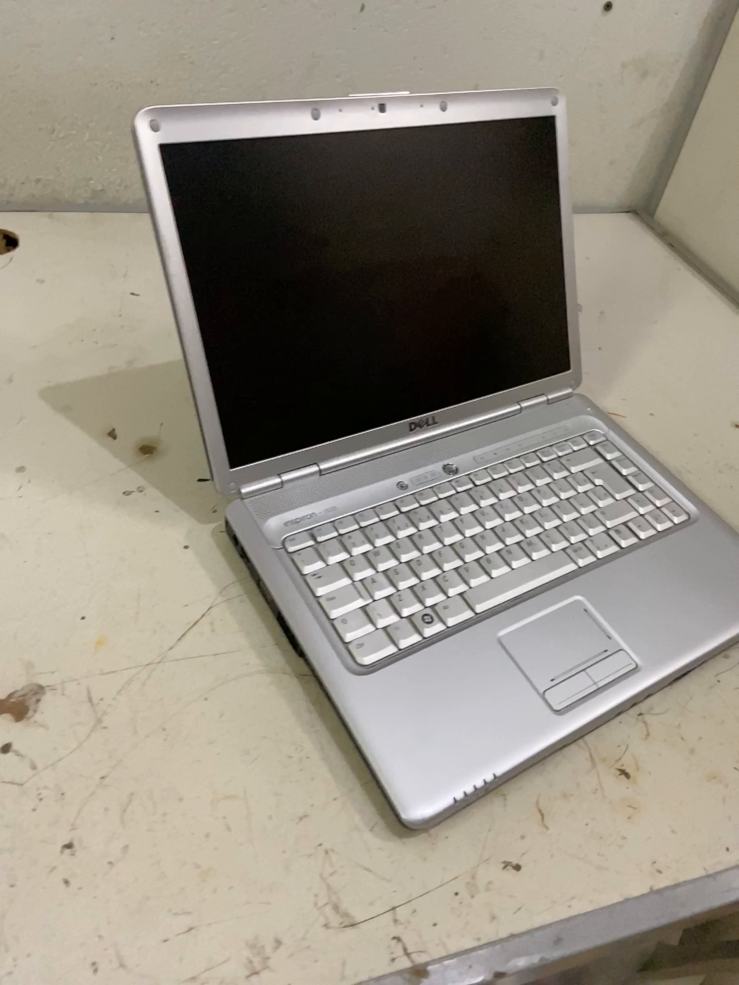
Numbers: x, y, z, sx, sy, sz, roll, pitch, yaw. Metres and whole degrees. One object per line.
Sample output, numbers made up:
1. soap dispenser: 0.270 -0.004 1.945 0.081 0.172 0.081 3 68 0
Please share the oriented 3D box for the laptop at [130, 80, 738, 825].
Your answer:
1. laptop: 0.086 -0.081 0.502 0.350 0.208 0.378 -18 53 -28
